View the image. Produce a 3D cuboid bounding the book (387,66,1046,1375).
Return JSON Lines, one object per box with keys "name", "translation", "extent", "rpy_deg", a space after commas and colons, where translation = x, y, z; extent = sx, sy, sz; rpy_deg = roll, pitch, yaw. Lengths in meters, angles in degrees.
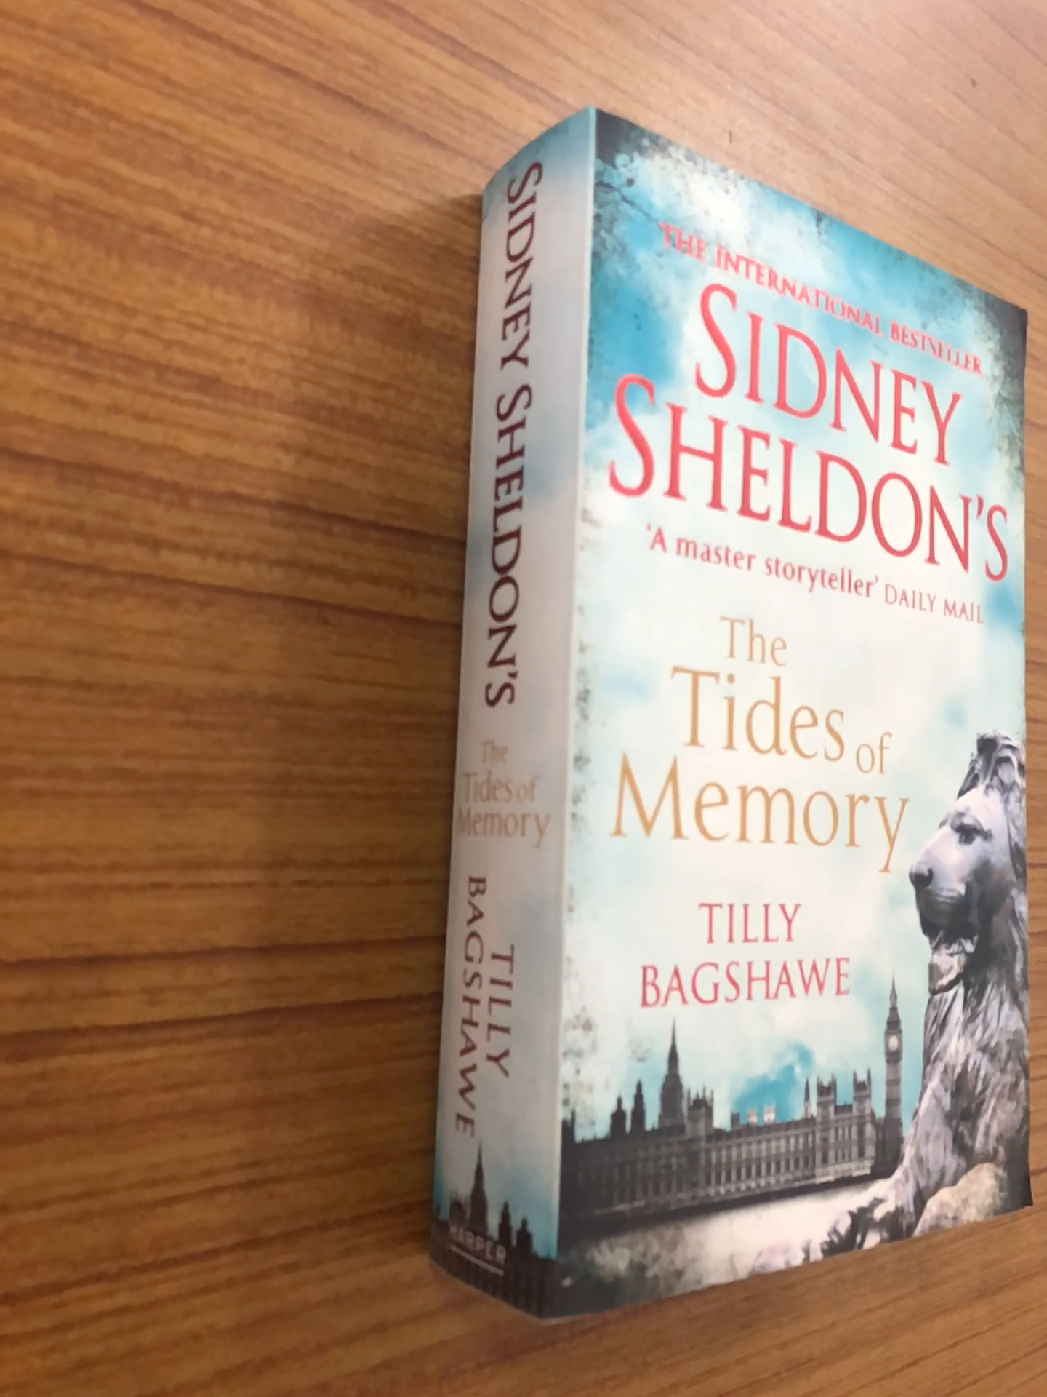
{"name": "book", "translation": [0.045, 0.005, 0.199], "extent": [0.122, 0.037, 0.168], "rpy_deg": [7, 82, -34]}
